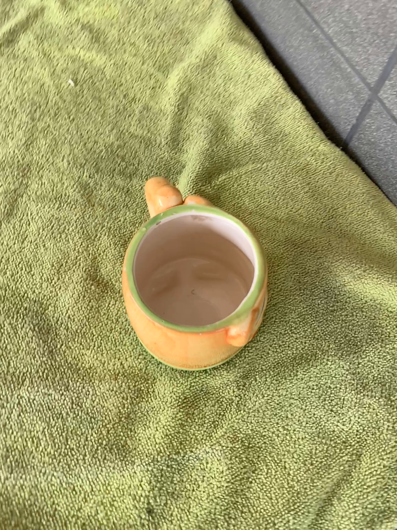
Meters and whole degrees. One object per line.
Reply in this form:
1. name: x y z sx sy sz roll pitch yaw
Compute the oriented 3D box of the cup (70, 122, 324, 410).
1. cup: -0.007 0.006 0.254 0.080 0.100 0.130 -23 70 -12
